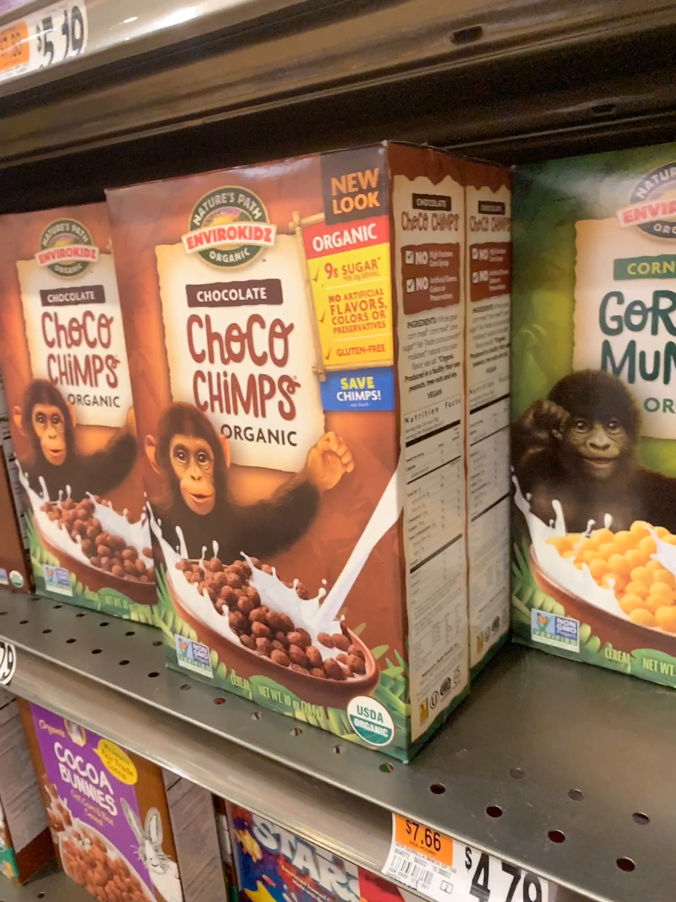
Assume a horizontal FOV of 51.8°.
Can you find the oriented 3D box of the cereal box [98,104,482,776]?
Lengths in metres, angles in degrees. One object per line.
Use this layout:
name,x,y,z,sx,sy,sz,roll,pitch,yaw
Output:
cereal box,-0.021,-0.005,0.343,0.170,0.269,0.060,7,17,34
